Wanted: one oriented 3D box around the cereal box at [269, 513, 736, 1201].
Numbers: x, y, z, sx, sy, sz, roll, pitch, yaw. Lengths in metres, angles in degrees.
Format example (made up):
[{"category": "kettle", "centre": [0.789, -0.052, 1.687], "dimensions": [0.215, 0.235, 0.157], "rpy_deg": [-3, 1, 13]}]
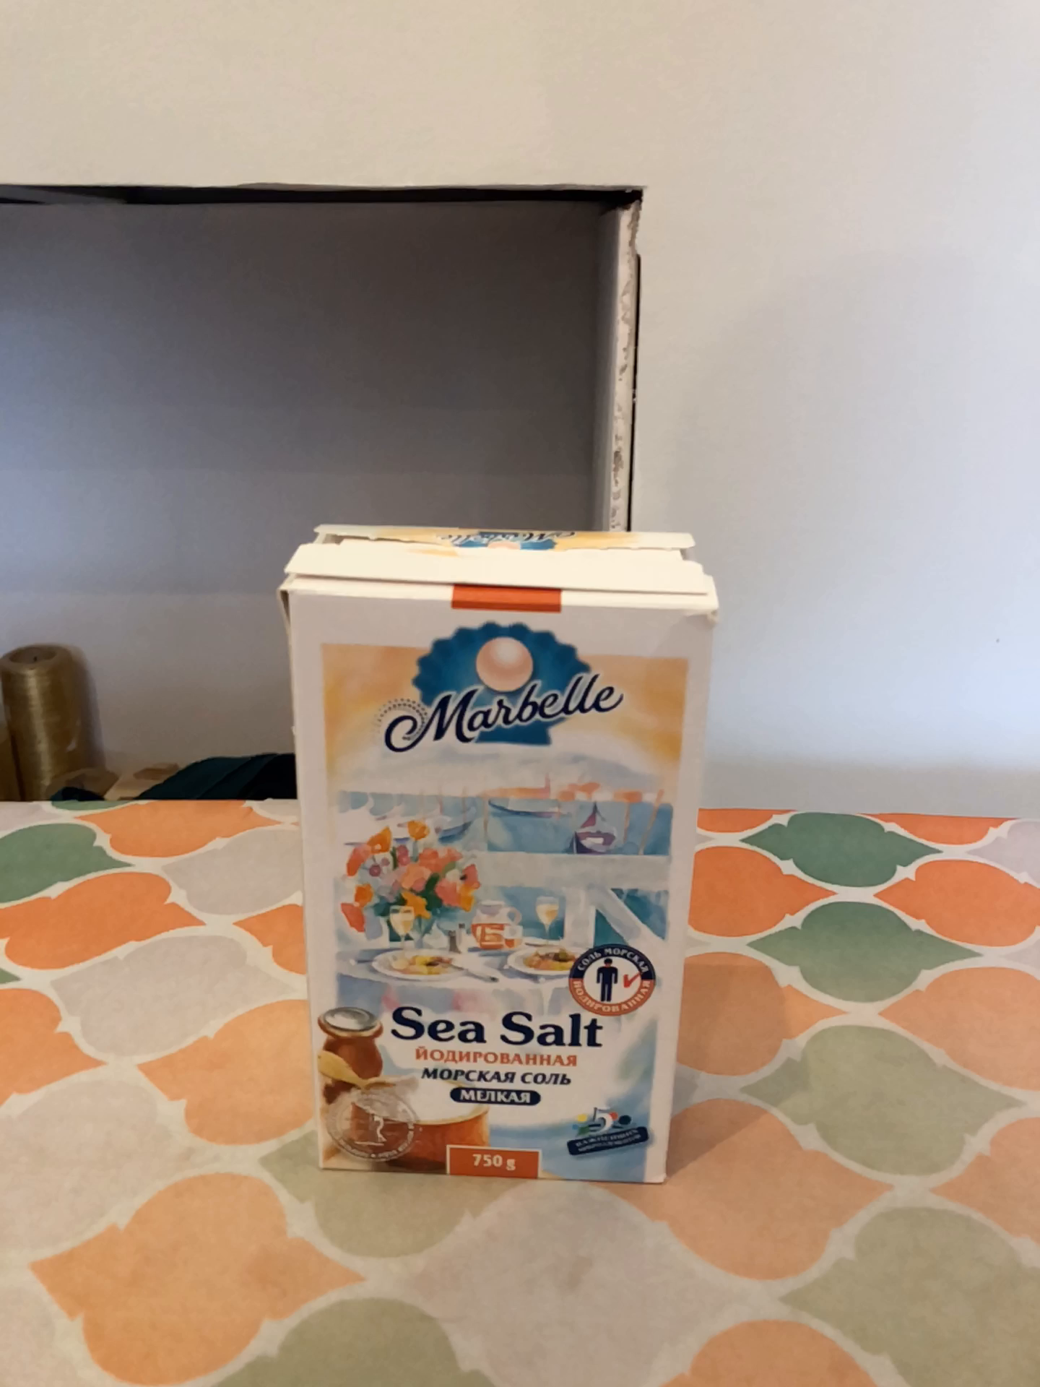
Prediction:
[{"category": "cereal box", "centre": [-0.005, 0.045, 0.304], "dimensions": [0.100, 0.169, 0.060], "rpy_deg": [2, 23, 1]}]
